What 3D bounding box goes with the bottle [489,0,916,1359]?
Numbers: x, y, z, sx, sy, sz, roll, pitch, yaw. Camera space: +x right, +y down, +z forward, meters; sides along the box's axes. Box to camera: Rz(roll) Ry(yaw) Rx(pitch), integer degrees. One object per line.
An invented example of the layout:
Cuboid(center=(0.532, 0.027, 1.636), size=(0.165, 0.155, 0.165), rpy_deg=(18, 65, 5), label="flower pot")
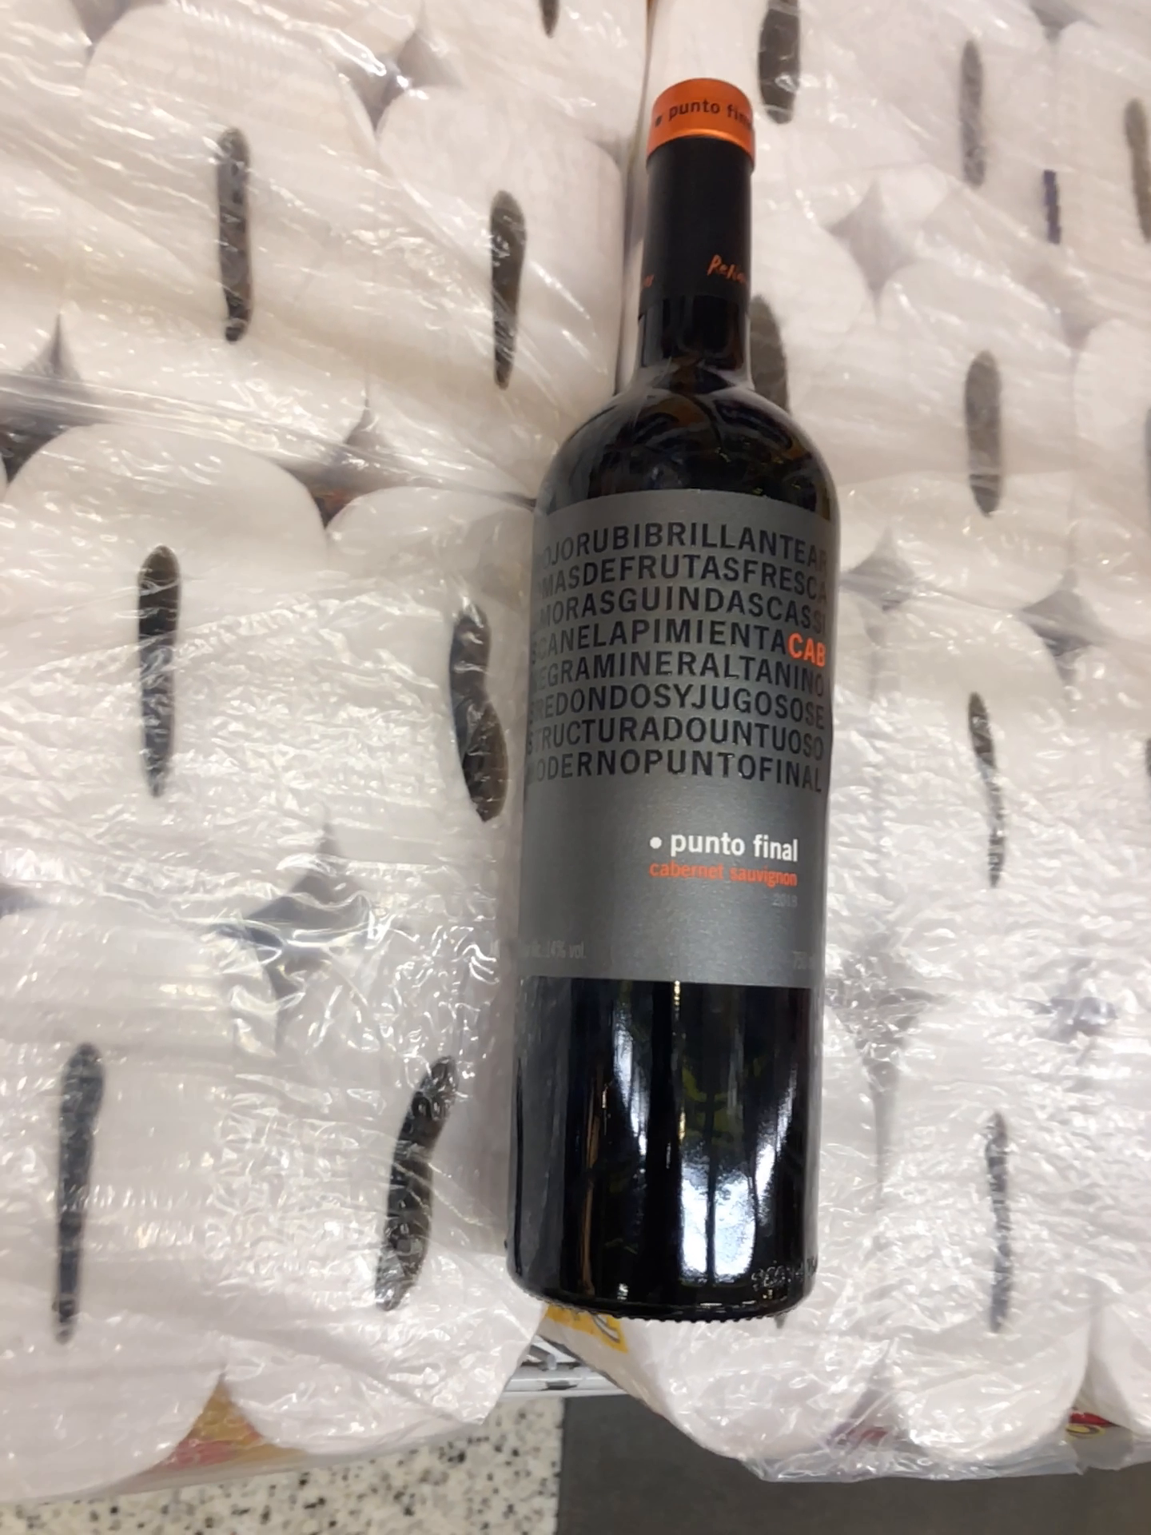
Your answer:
Cuboid(center=(0.030, -0.036, 0.302), size=(0.070, 0.060, 0.310), rpy_deg=(7, 77, -22), label="bottle")
